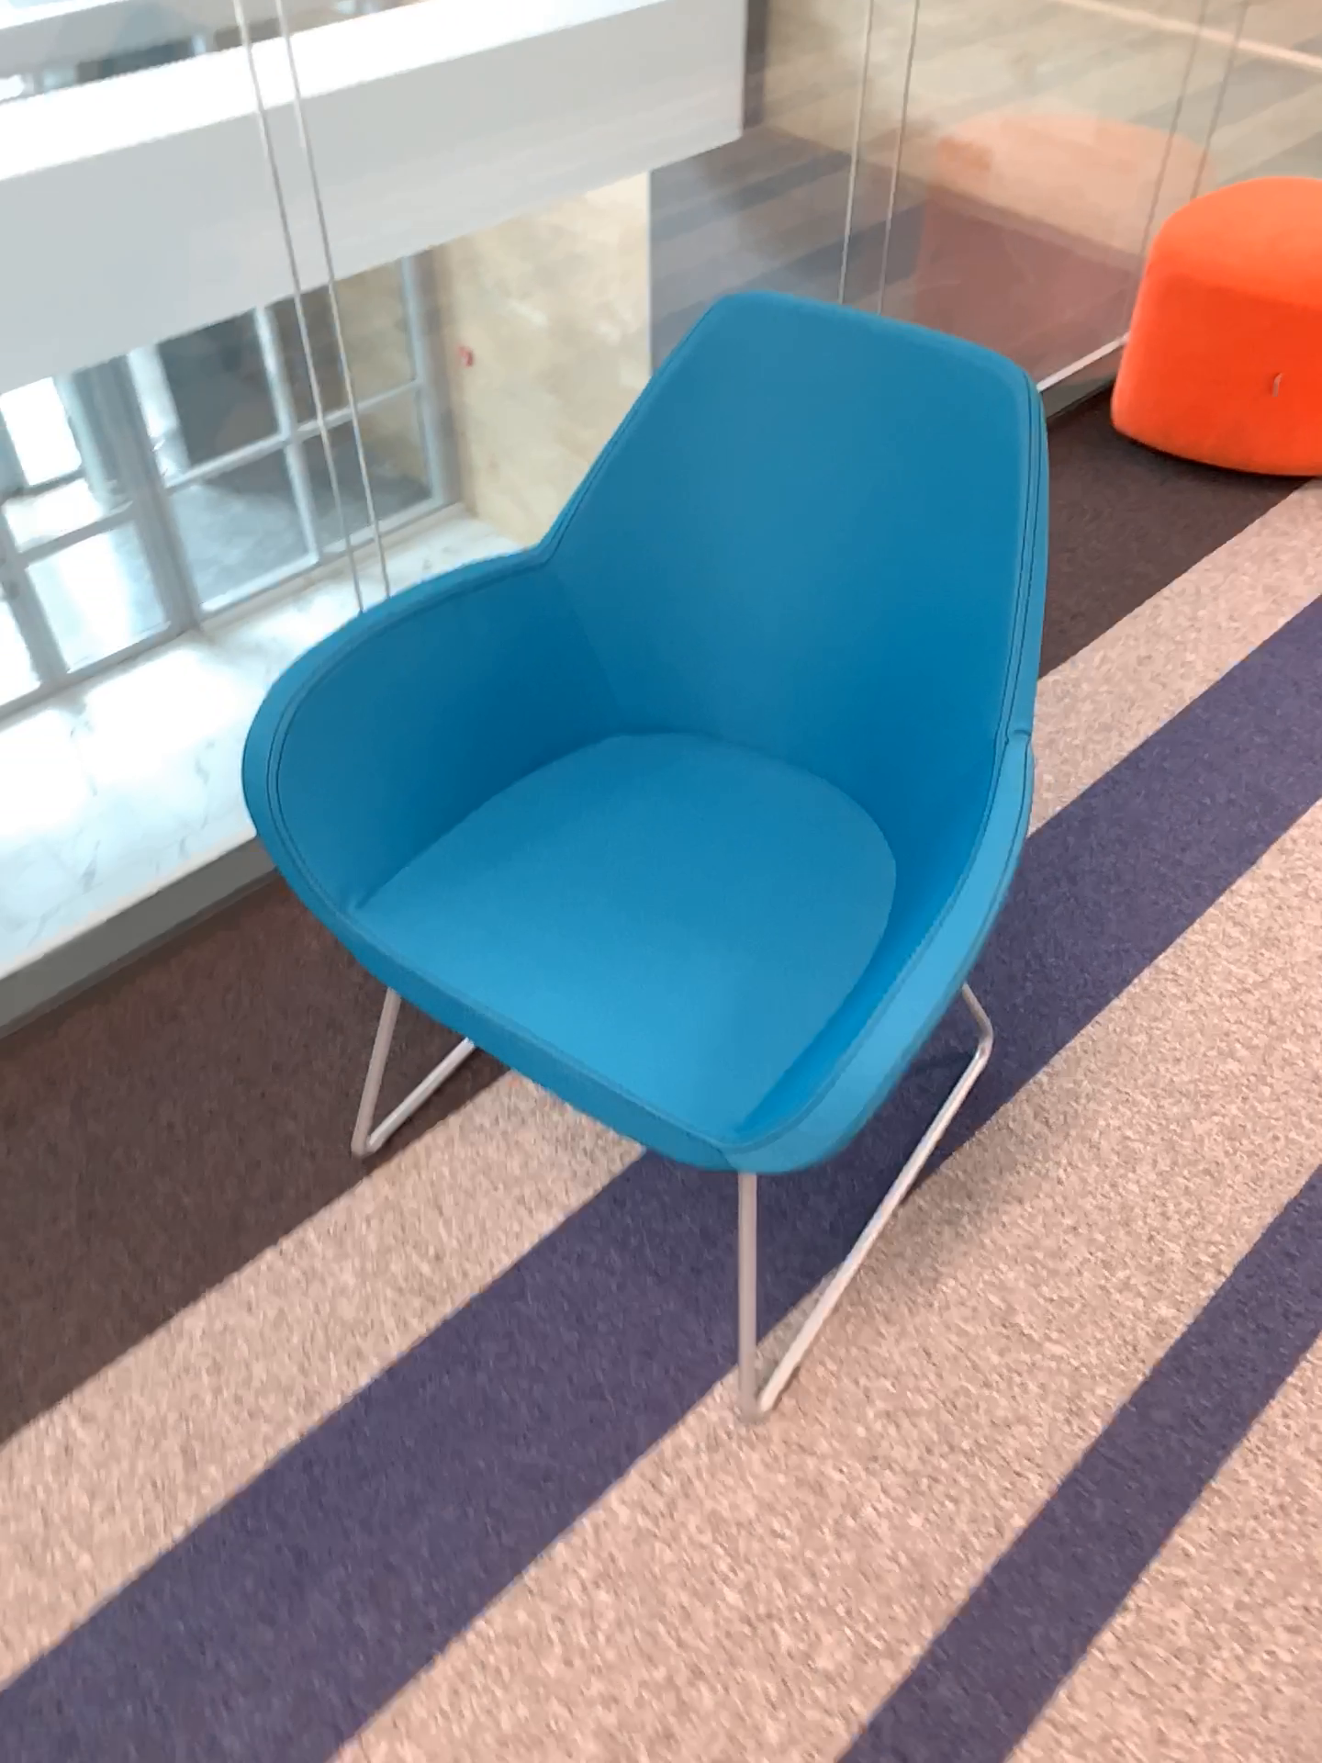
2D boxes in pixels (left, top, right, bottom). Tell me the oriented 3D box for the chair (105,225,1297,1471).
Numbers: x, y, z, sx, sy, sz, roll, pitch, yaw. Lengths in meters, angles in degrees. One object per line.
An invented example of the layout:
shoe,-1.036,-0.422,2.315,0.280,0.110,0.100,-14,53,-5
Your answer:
chair,0.053,-0.039,1.345,0.672,0.836,0.652,28,53,24

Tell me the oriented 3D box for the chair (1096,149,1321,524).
chair,1.403,-1.180,2.857,0.640,0.396,0.652,28,53,24
